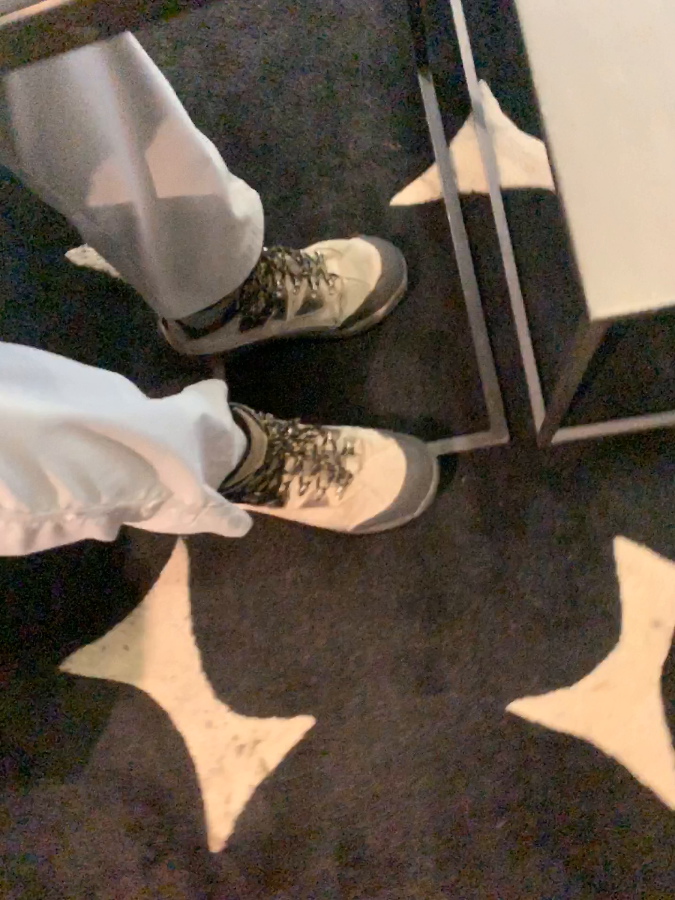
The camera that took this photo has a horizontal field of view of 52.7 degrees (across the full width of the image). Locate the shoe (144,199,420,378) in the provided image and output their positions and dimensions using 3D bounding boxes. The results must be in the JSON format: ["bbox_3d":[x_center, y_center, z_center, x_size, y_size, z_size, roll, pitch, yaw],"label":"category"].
[{"bbox_3d":[-0.066,-0.185,0.808,0.304,0.080,0.121,-11,75,9],"label":"shoe"}]

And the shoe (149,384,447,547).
[{"bbox_3d":[-0.036,0.018,0.723,0.285,0.090,0.123,7,79,9],"label":"shoe"}]
